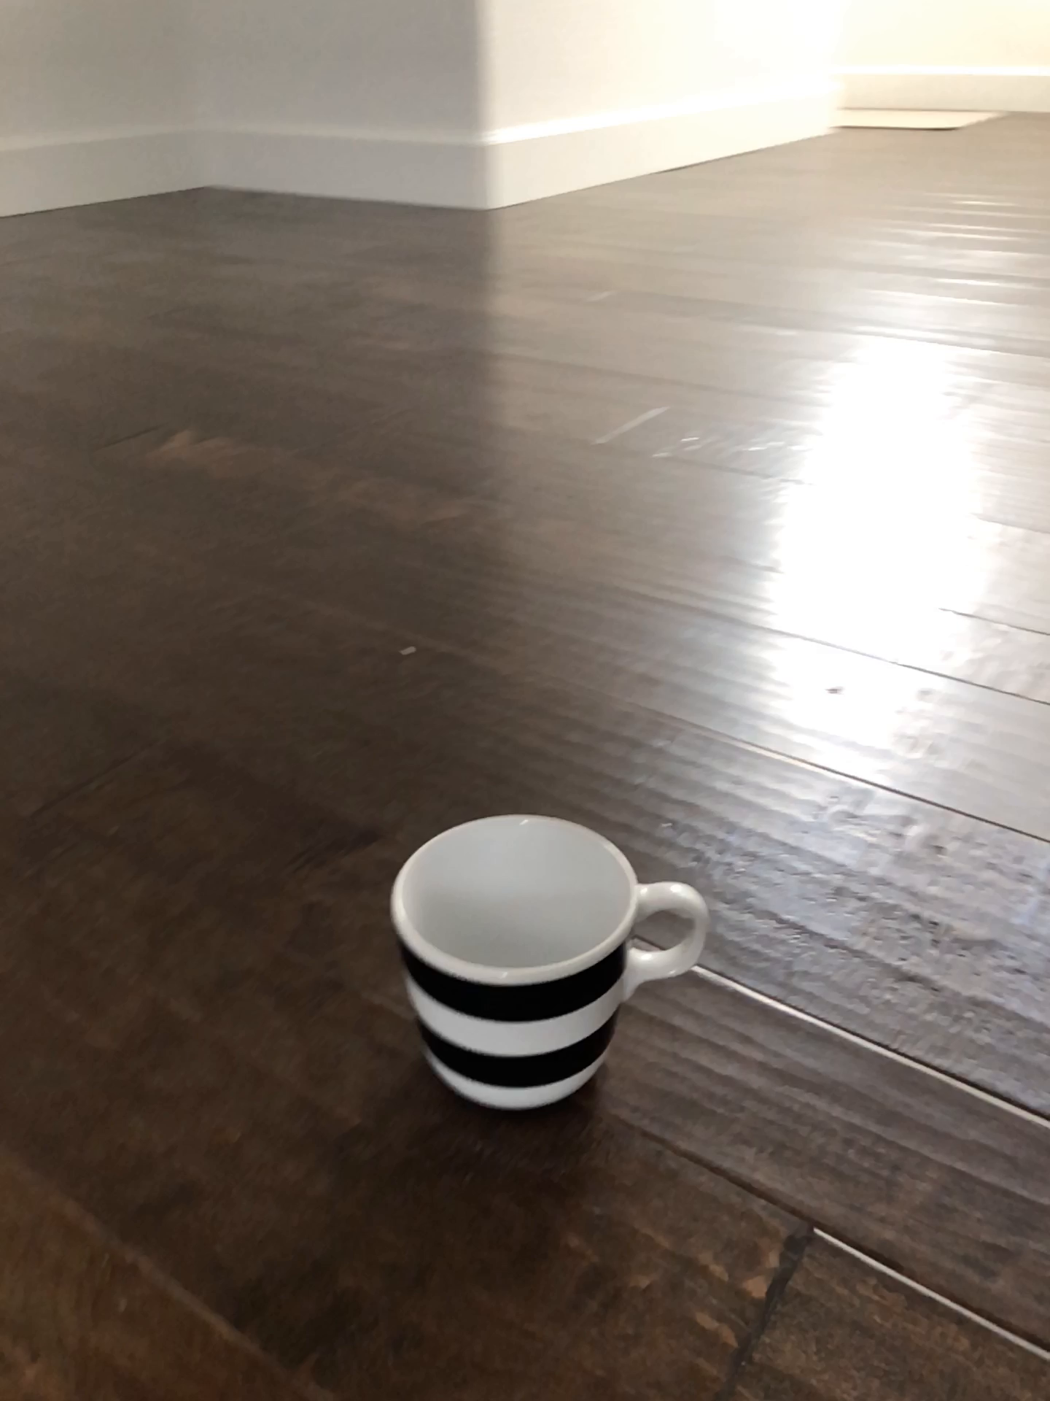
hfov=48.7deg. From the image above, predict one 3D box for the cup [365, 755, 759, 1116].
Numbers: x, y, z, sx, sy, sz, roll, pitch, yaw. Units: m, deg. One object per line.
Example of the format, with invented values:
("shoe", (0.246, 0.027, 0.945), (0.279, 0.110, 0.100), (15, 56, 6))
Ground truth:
("cup", (0.010, 0.080, 0.411), (0.120, 0.079, 0.091), (-2, 30, -2))
